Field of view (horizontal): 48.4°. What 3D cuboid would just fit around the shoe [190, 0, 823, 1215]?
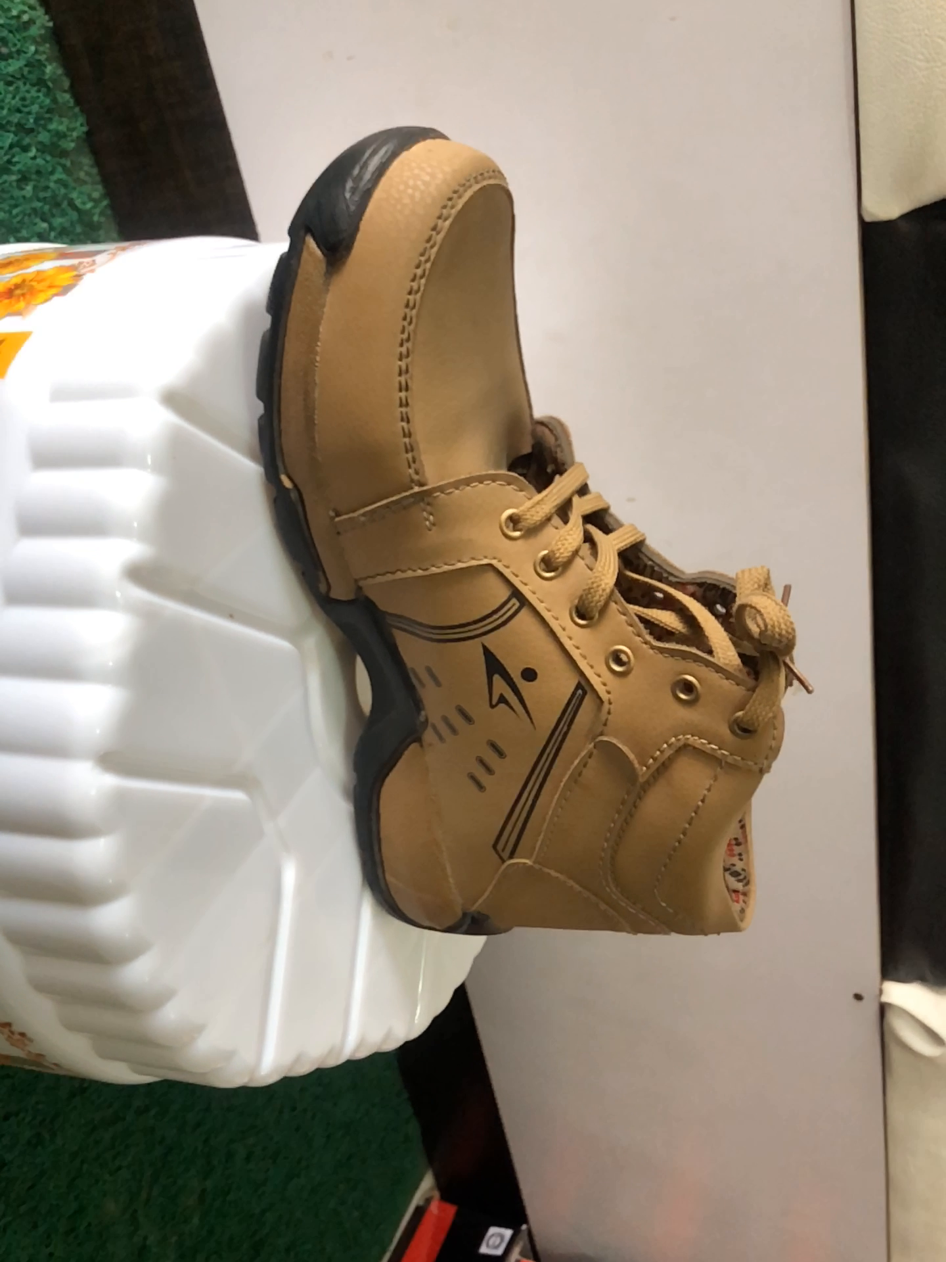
[{"bbox_3d":[0.036,-0.007,0.320,0.141,0.109,0.300,-40,127,-57],"label":"shoe"}]
